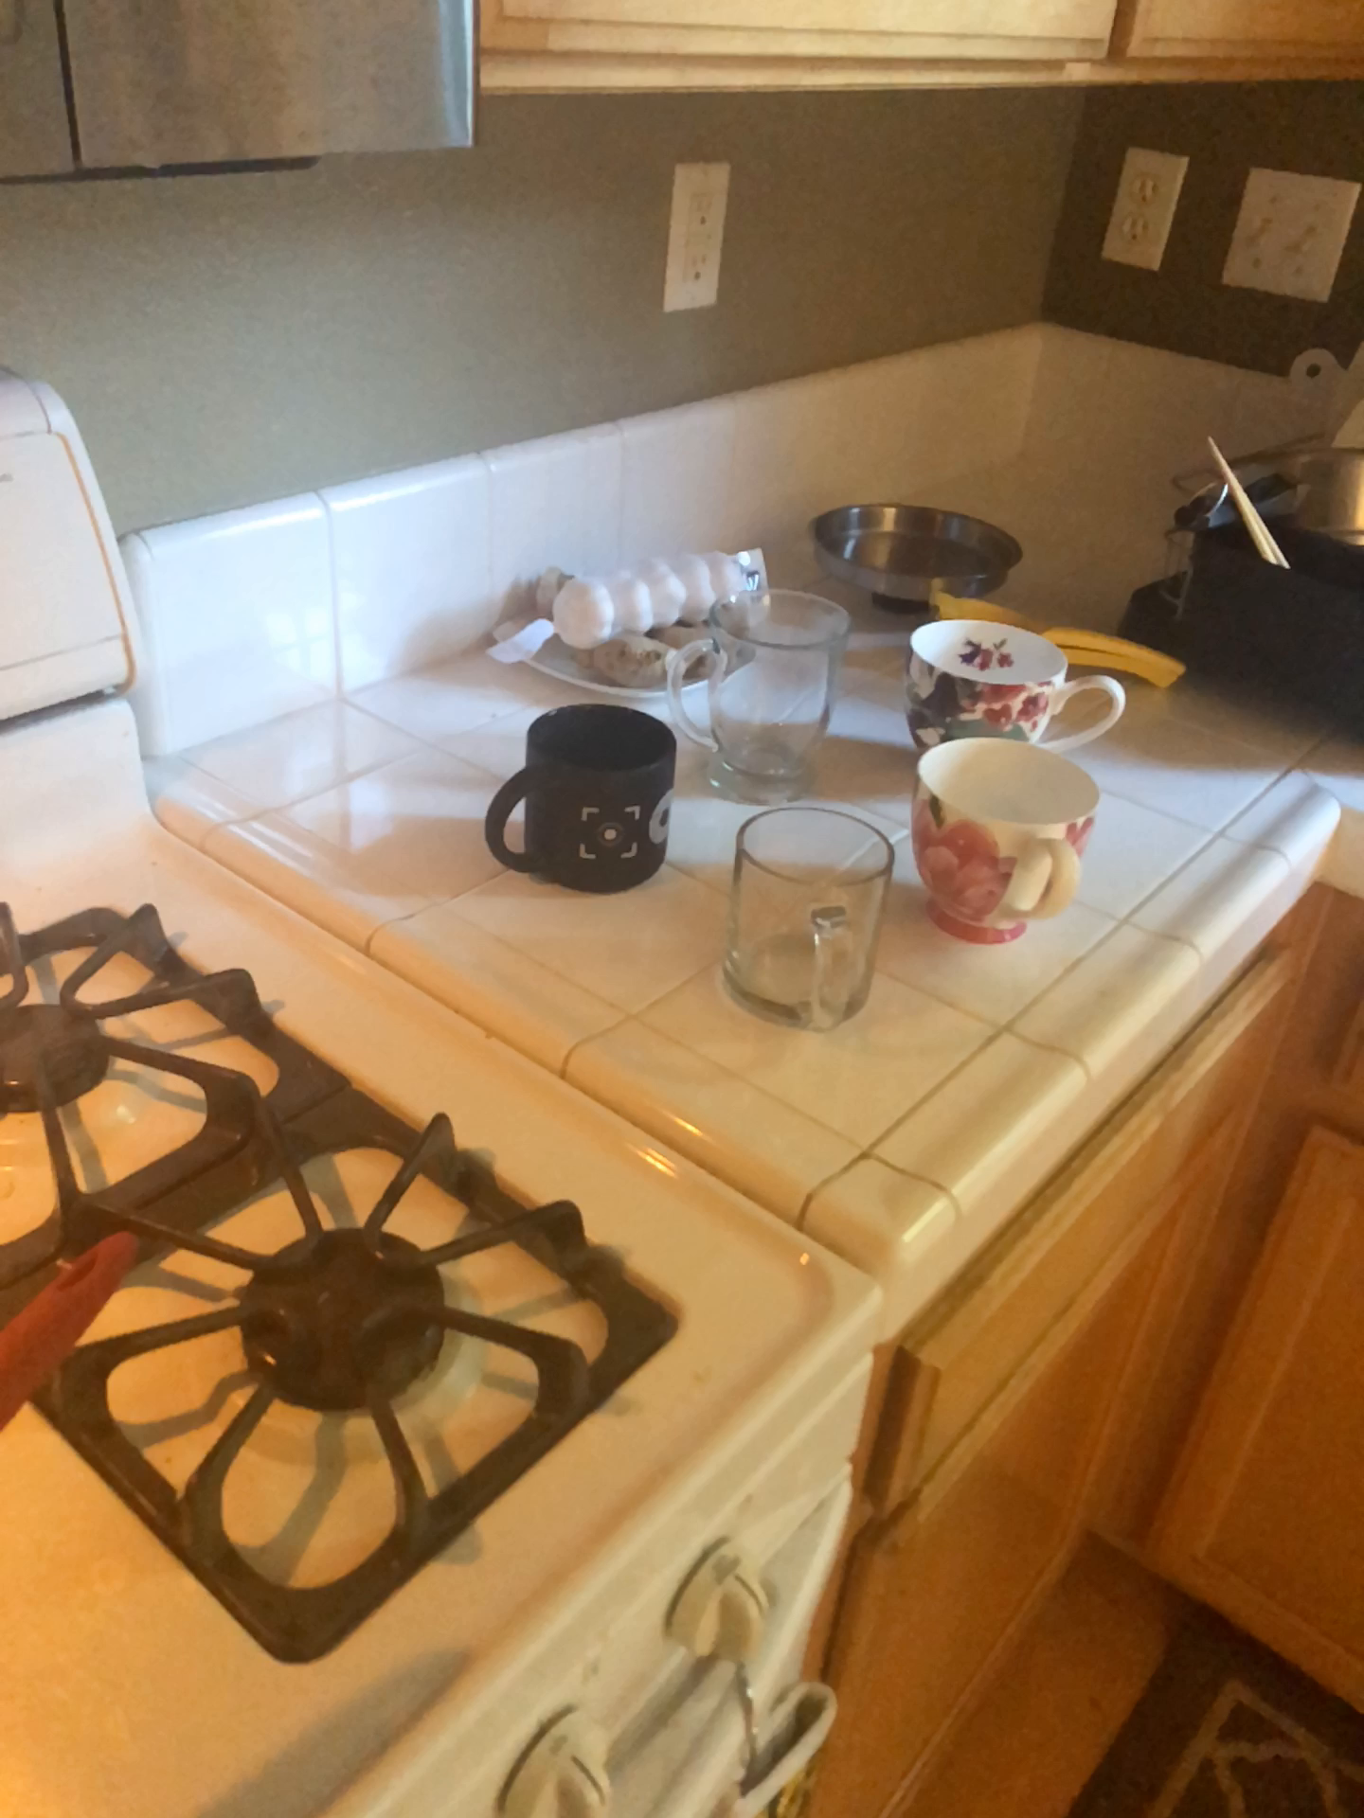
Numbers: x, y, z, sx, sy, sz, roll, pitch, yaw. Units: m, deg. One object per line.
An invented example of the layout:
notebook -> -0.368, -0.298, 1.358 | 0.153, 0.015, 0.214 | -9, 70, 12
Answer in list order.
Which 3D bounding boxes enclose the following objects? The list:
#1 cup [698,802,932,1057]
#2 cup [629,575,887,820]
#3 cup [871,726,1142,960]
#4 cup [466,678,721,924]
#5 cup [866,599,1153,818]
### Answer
cup -> 0.066, 0.008, 0.797 | 0.090, 0.079, 0.121 | -1, 34, -10
cup -> 0.045, -0.138, 0.962 | 0.120, 0.109, 0.101 | -12, 37, -25
cup -> 0.173, -0.039, 0.826 | 0.100, 0.069, 0.131 | 0, 34, -9
cup -> -0.049, -0.062, 0.819 | 0.080, 0.079, 0.111 | 31, 41, 33
cup -> 0.225, -0.141, 1.031 | 0.160, 0.079, 0.101 | 19, 35, 19
